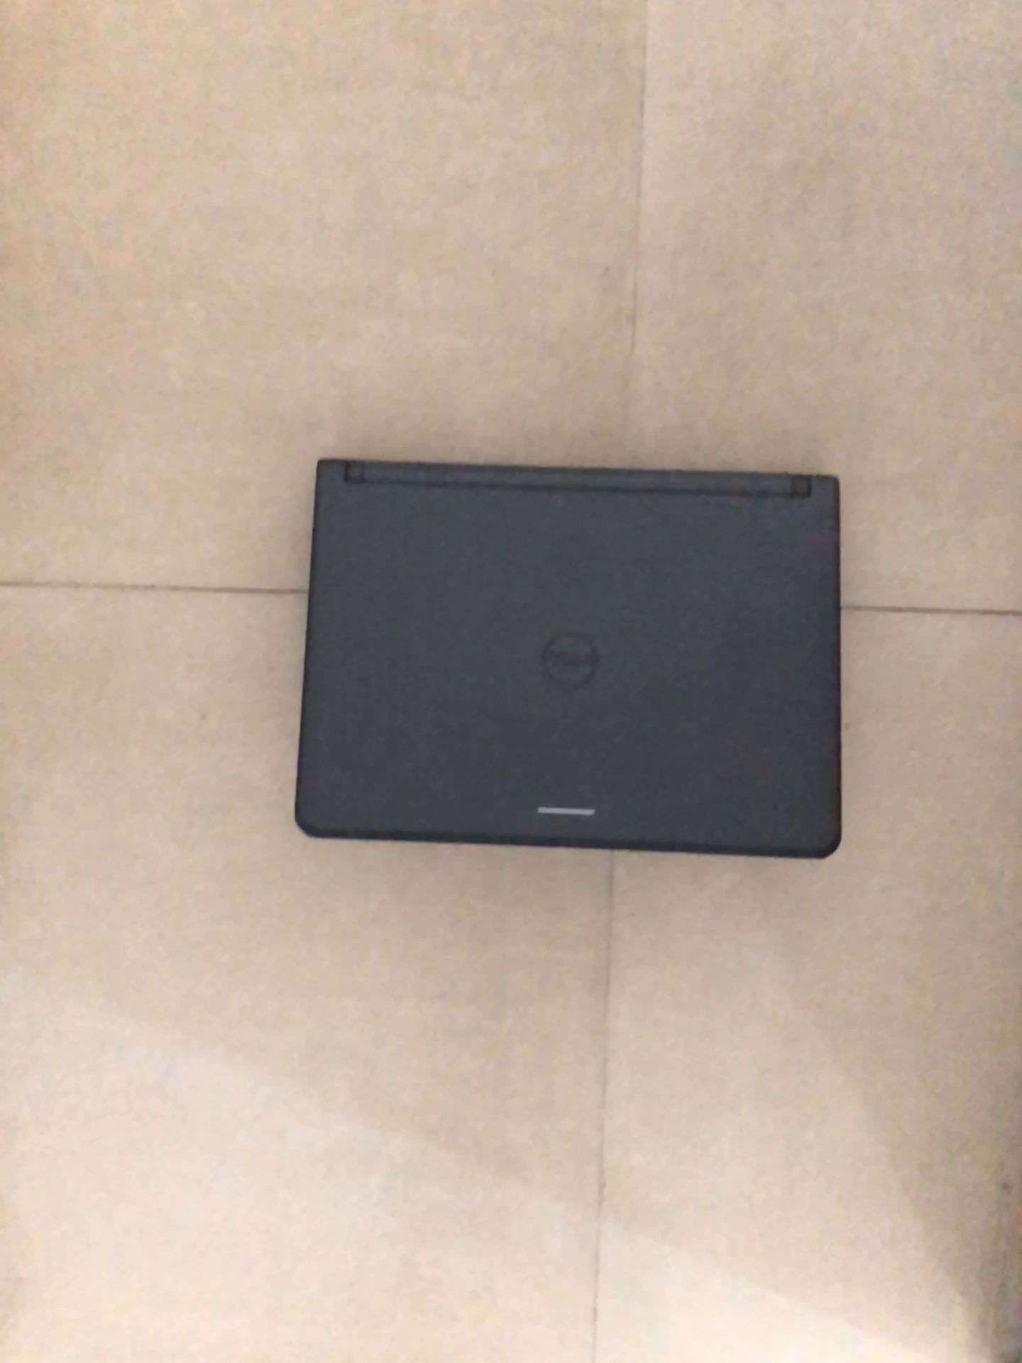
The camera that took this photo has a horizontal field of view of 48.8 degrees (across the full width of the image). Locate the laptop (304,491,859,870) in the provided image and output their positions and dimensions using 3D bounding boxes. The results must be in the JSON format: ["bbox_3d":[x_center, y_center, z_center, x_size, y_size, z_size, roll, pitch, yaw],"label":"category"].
[{"bbox_3d":[0.036,-0.002,0.697,0.314,0.064,0.220,2,104,2],"label":"laptop"}]
